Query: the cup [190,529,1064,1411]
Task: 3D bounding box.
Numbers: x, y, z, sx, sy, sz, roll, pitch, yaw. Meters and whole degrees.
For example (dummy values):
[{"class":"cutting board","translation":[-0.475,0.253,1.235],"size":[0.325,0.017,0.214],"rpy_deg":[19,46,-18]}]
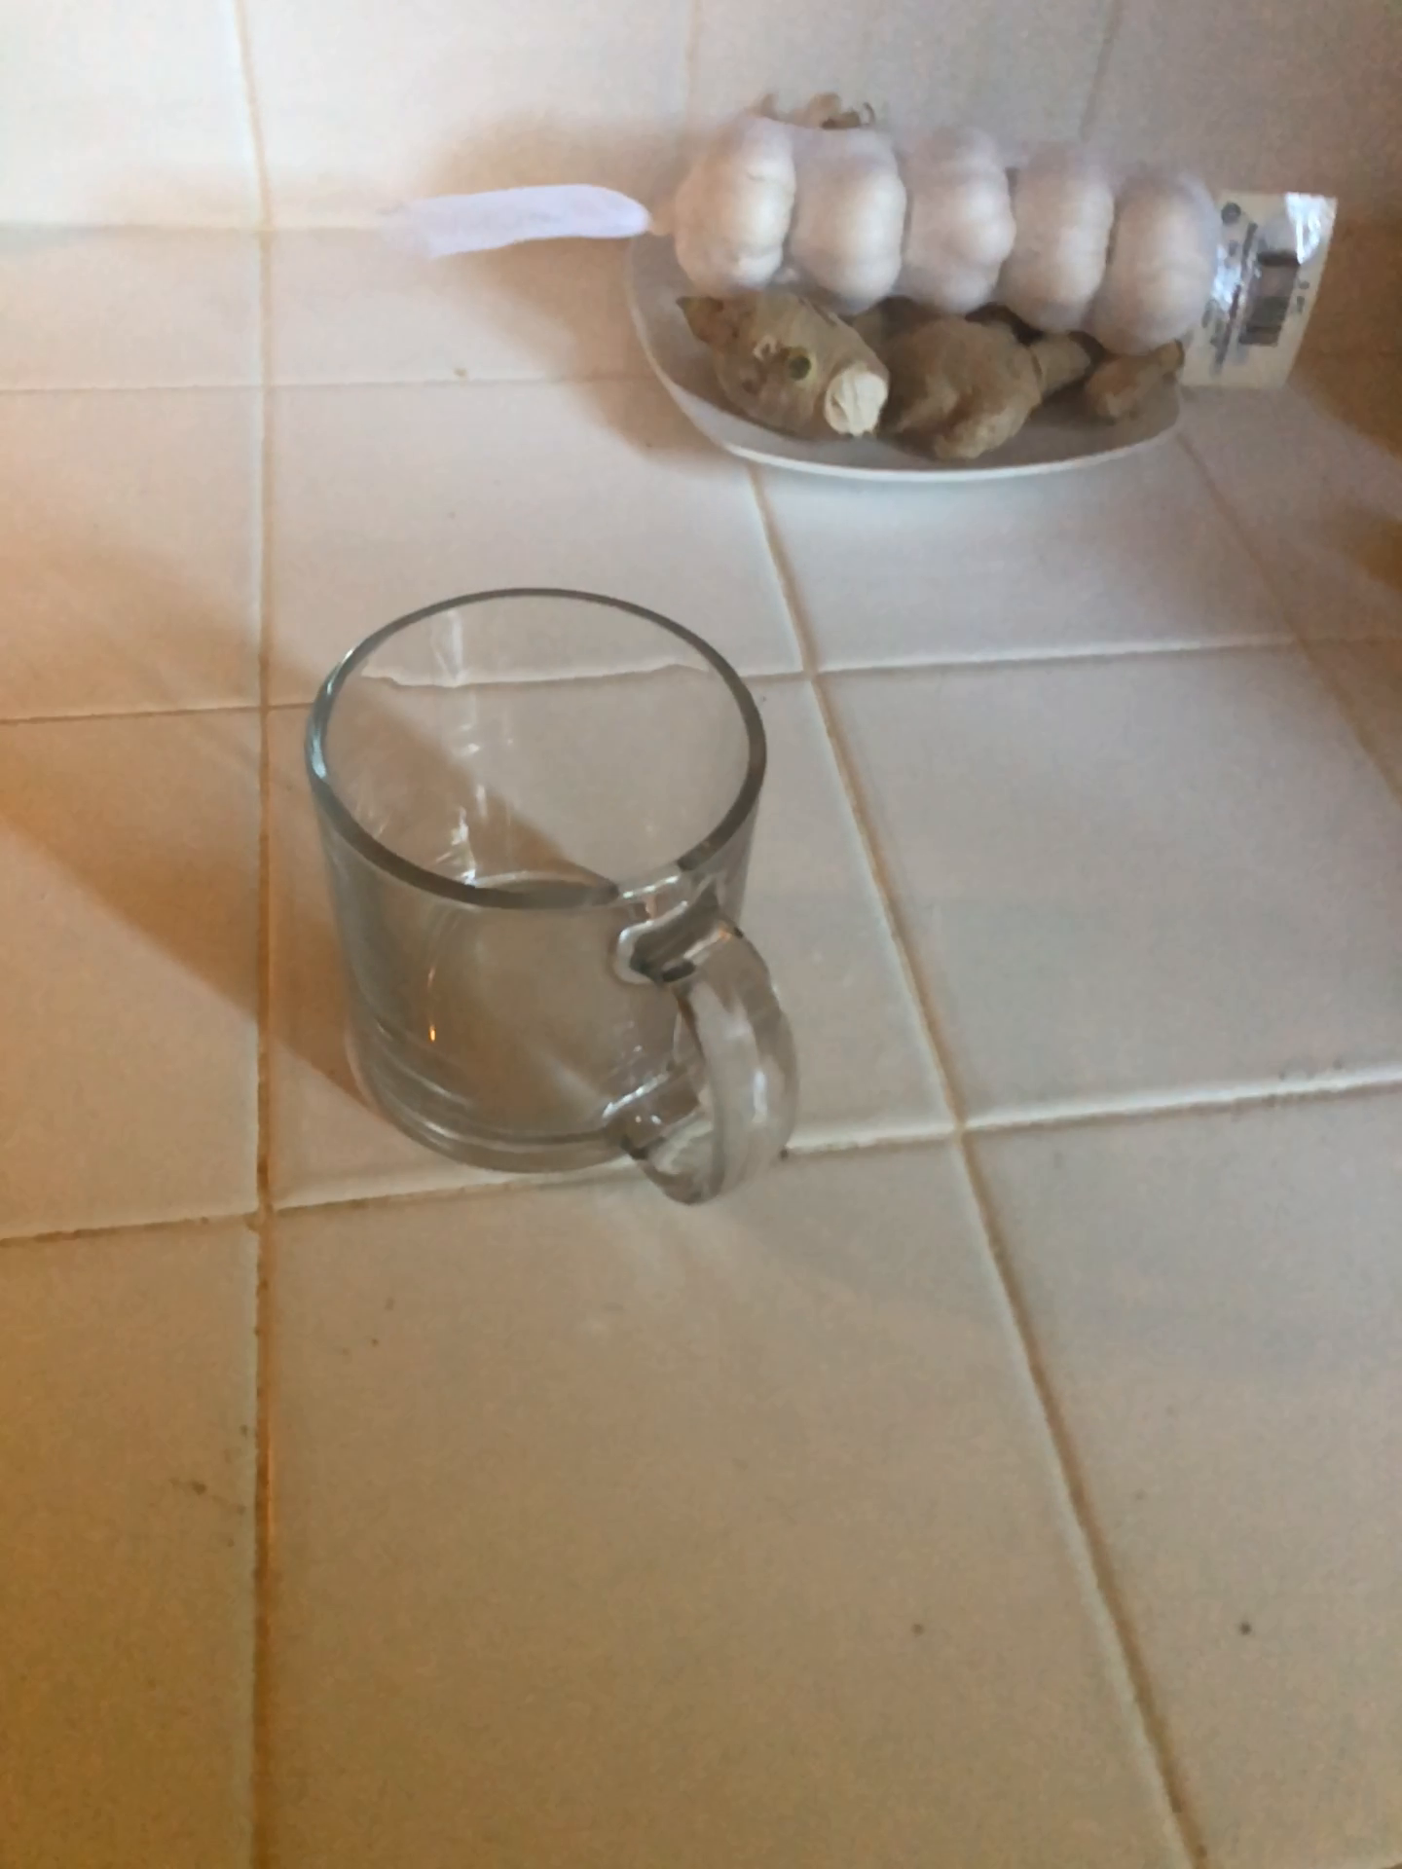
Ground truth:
[{"class":"cup","translation":[-0.018,0.002,0.315],"size":[0.101,0.079,0.130],"rpy_deg":[-33,62,-28]}]
